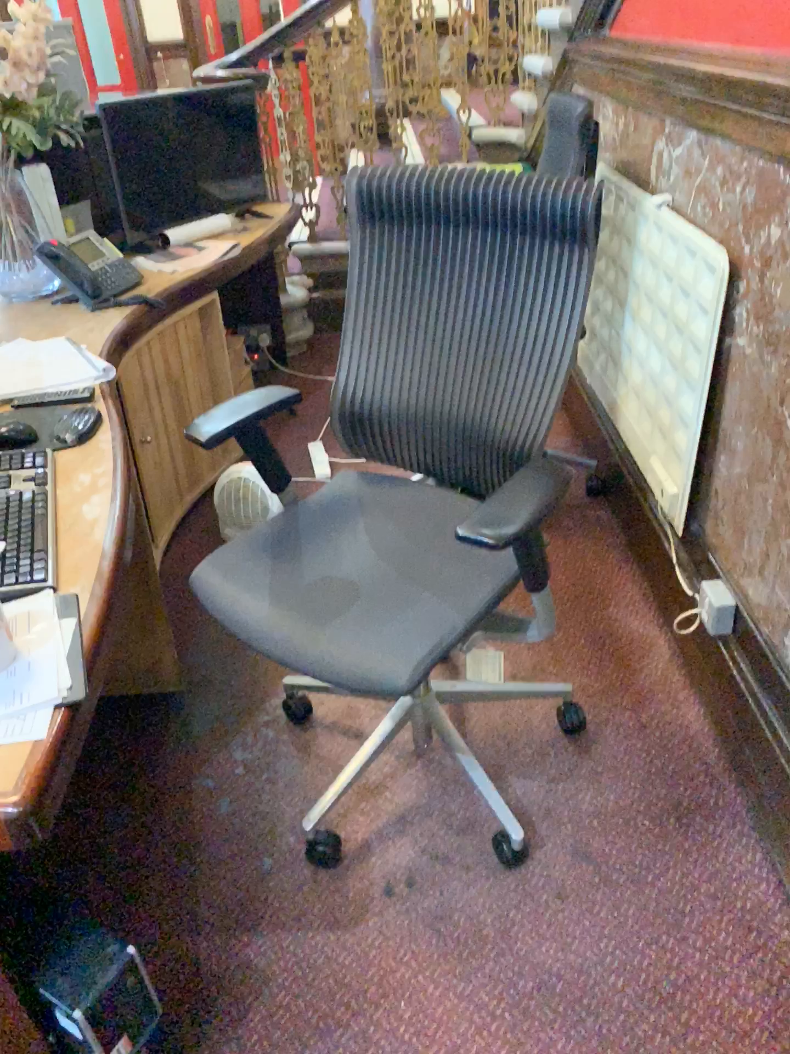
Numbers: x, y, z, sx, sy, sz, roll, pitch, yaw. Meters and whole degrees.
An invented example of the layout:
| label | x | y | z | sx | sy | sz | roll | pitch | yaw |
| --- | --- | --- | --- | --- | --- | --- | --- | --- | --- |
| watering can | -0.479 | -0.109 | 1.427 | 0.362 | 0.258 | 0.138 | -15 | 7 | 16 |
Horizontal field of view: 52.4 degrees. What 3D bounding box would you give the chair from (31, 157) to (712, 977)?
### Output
| label | x | y | z | sx | sy | sz | roll | pitch | yaw |
| --- | --- | --- | --- | --- | --- | --- | --- | --- | --- |
| chair | 0.013 | 0.009 | 1.467 | 0.723 | 1.129 | 0.694 | 20 | 40 | 34 |
